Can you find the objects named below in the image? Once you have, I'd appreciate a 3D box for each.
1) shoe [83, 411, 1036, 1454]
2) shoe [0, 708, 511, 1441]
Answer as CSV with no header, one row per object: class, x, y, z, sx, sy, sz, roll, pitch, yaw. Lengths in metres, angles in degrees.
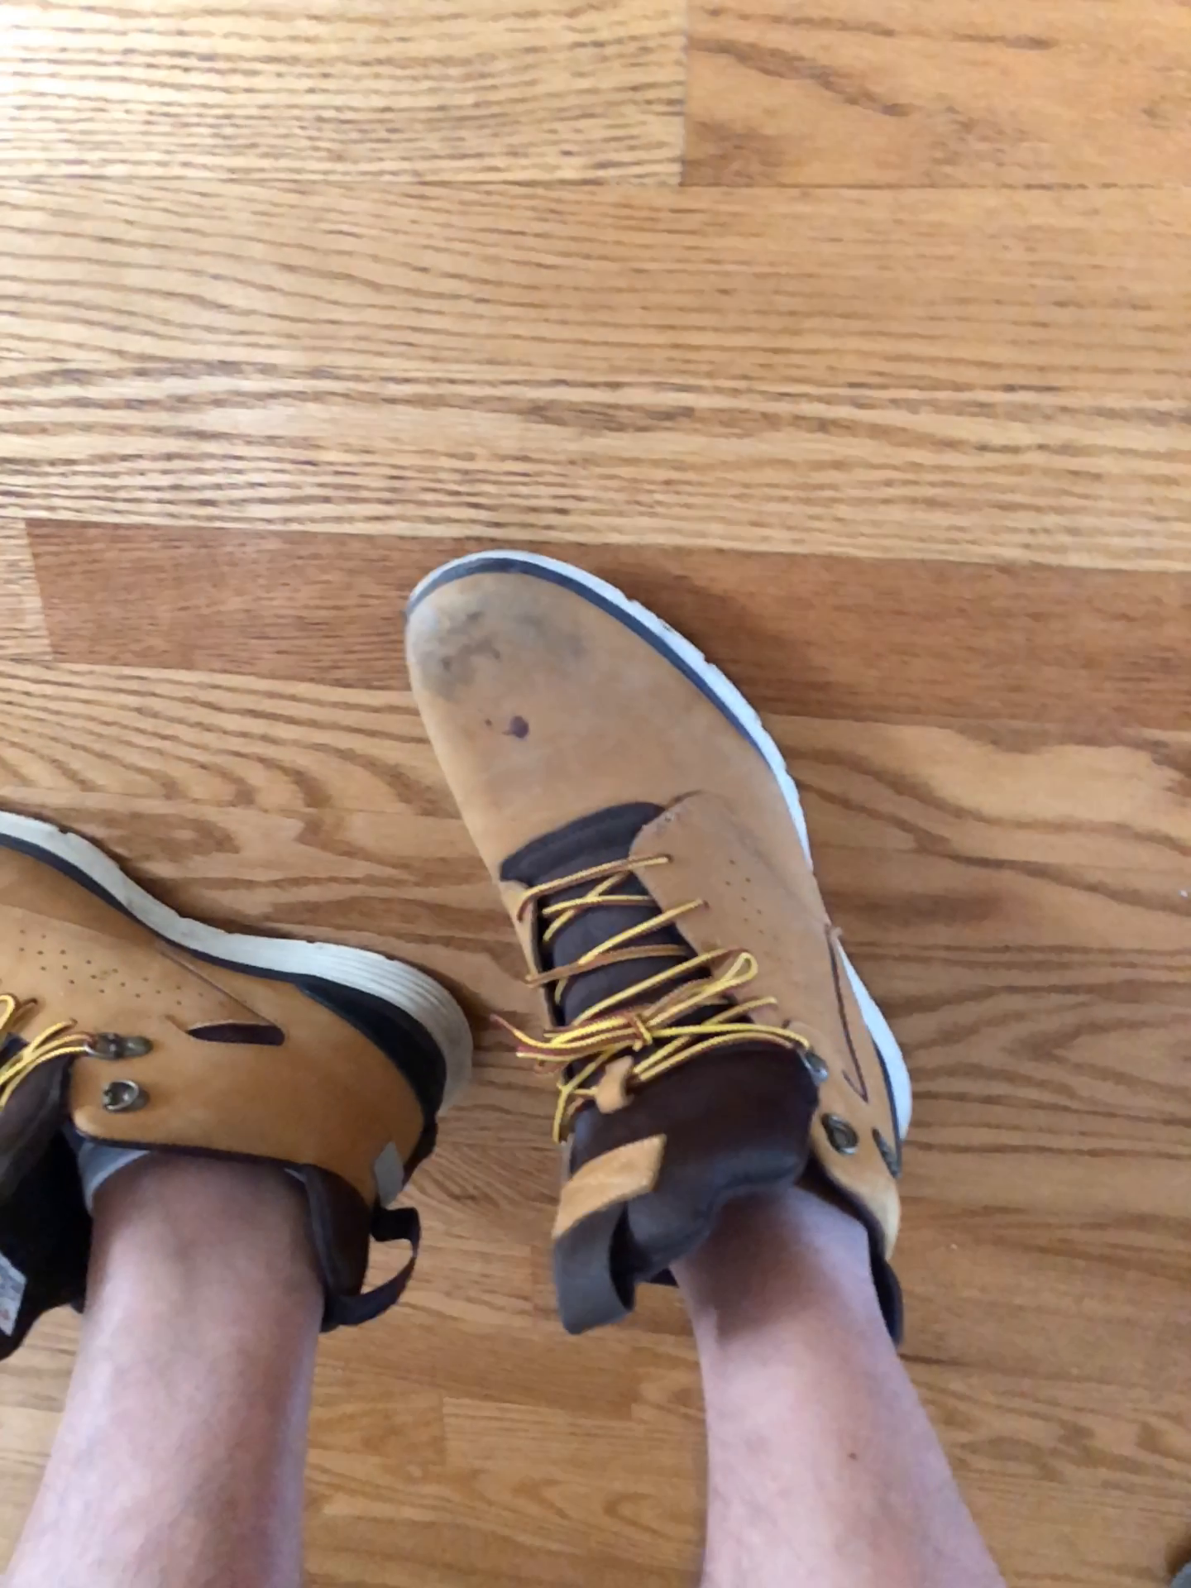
shoe,0.013,0.059,0.446,0.130,0.169,0.300,-26,121,23
shoe,-0.221,0.102,0.546,0.320,0.140,0.130,22,119,9
